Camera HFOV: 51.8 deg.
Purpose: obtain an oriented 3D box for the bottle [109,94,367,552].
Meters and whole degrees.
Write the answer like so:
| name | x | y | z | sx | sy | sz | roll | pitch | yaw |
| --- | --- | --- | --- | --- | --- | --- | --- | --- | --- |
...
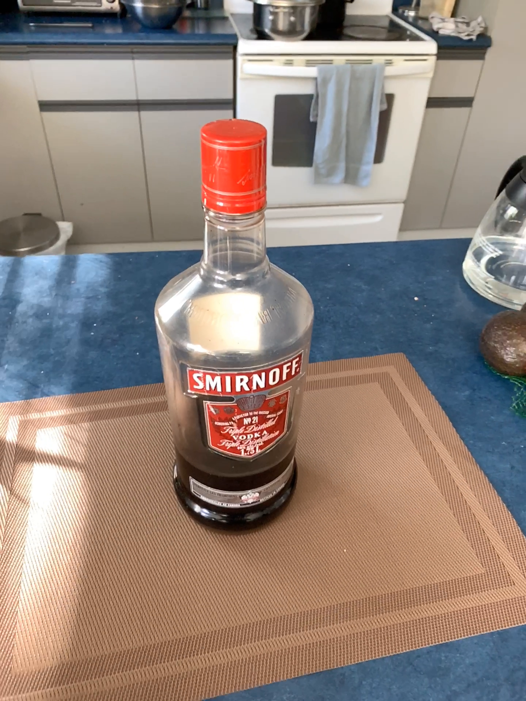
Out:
| name | x | y | z | sx | sy | sz | roll | pitch | yaw |
| --- | --- | --- | --- | --- | --- | --- | --- | --- | --- |
| bottle | -0.026 | 0.001 | 0.394 | 0.120 | 0.317 | 0.111 | 1 | 40 | -1 |
